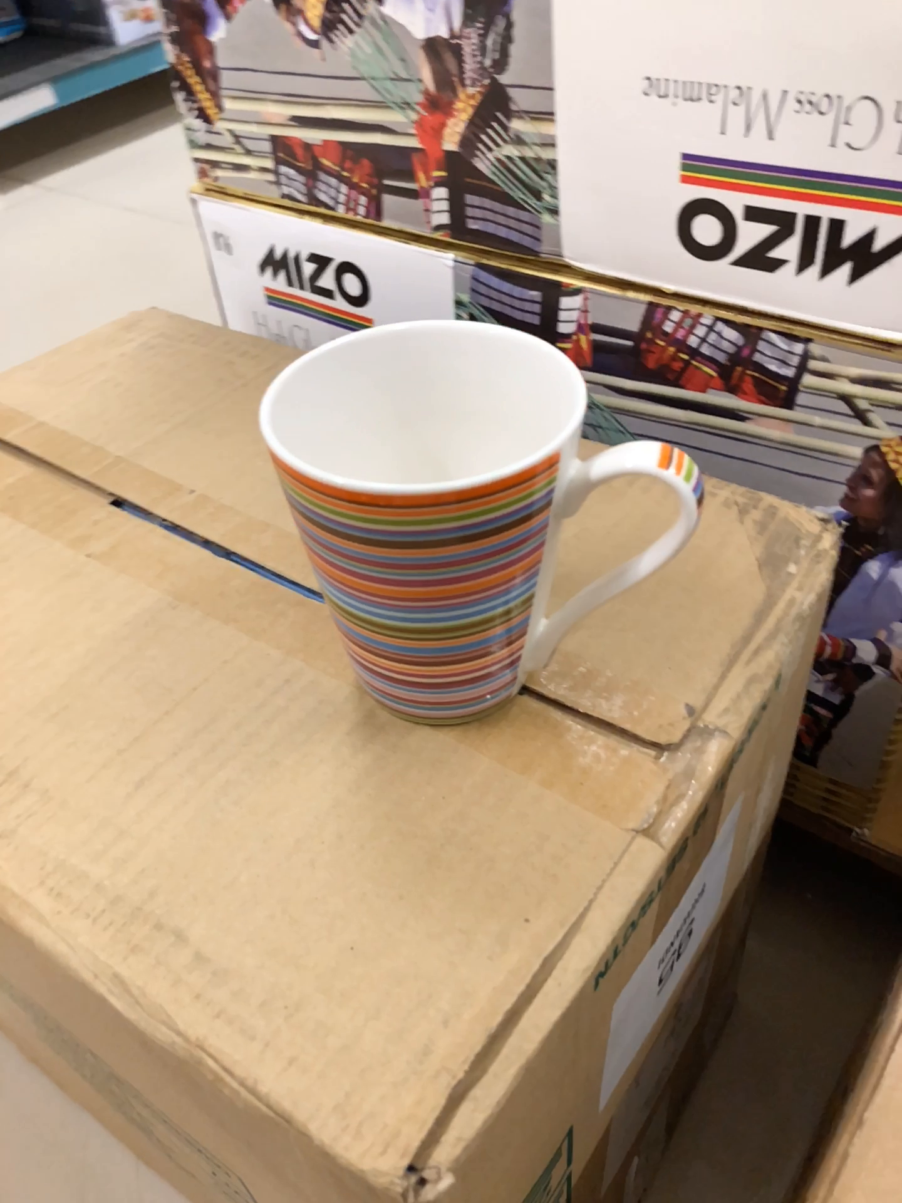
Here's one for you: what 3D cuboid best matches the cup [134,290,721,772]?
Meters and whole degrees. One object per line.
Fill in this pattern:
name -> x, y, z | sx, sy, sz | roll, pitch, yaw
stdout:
cup -> 0.001, -0.024, 0.281 | 0.130, 0.089, 0.081 | 8, 44, 15
